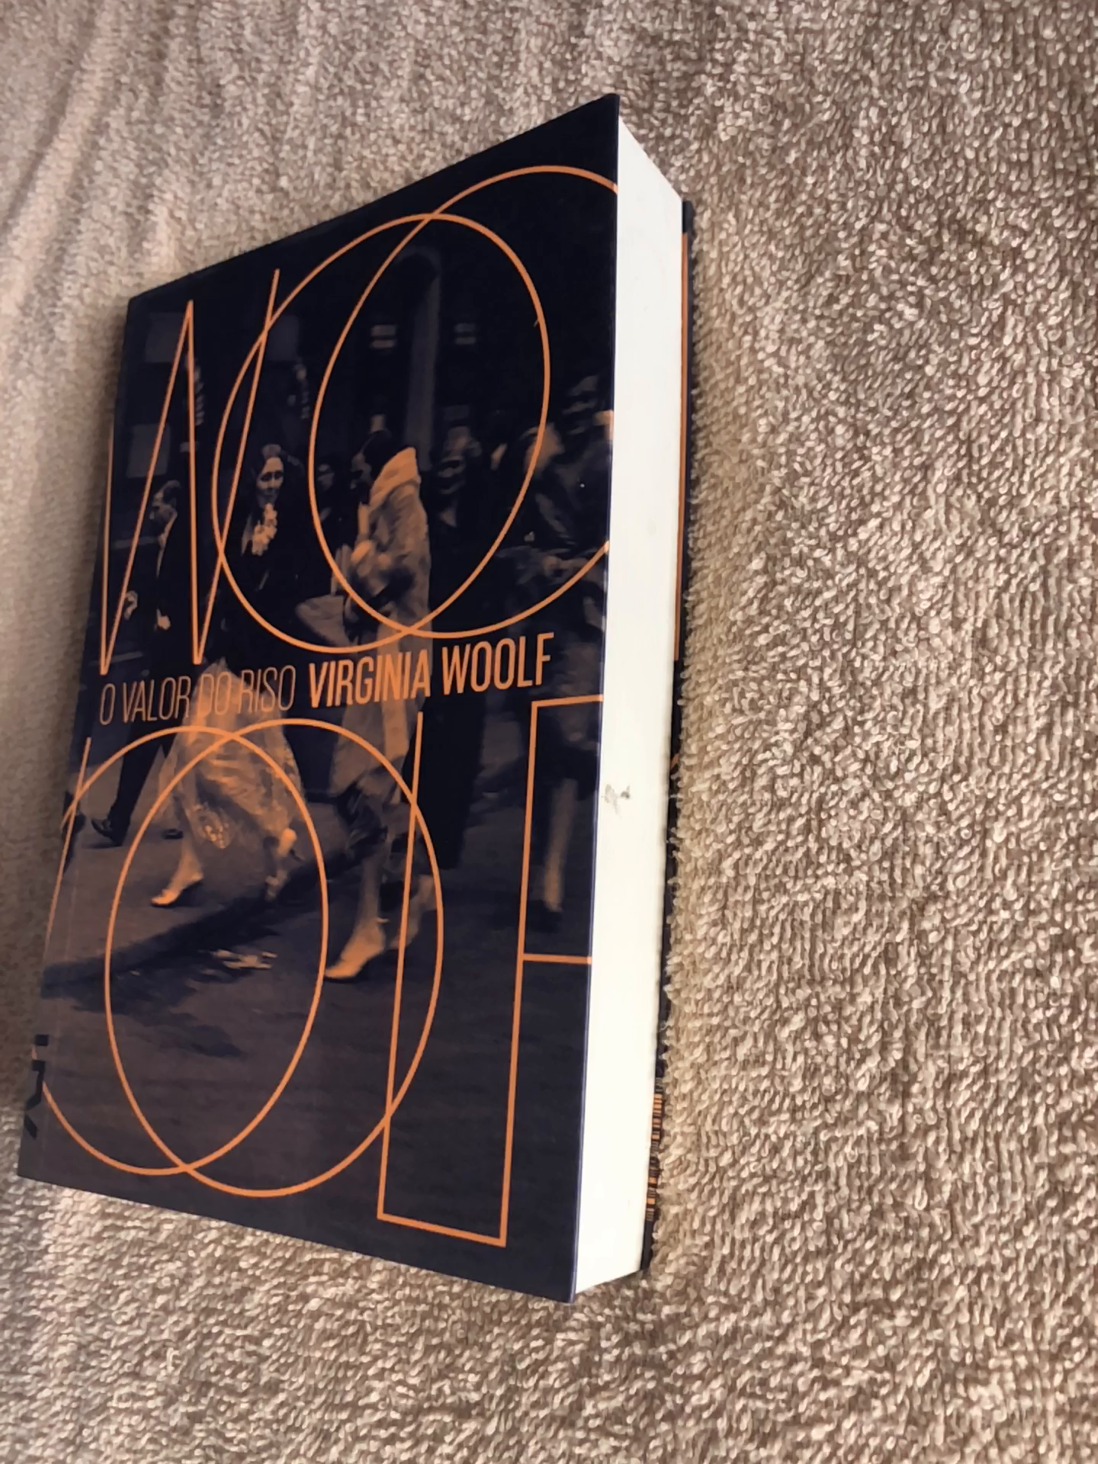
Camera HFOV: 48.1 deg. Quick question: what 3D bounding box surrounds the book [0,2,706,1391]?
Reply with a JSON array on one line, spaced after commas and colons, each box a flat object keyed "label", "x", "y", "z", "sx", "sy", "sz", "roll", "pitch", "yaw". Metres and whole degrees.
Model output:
[{"label": "book", "x": -0.047, "y": -0.006, "z": 0.222, "sx": 0.140, "sy": 0.050, "sz": 0.190, "roll": -3, "pitch": 81, "yaw": 30}]
